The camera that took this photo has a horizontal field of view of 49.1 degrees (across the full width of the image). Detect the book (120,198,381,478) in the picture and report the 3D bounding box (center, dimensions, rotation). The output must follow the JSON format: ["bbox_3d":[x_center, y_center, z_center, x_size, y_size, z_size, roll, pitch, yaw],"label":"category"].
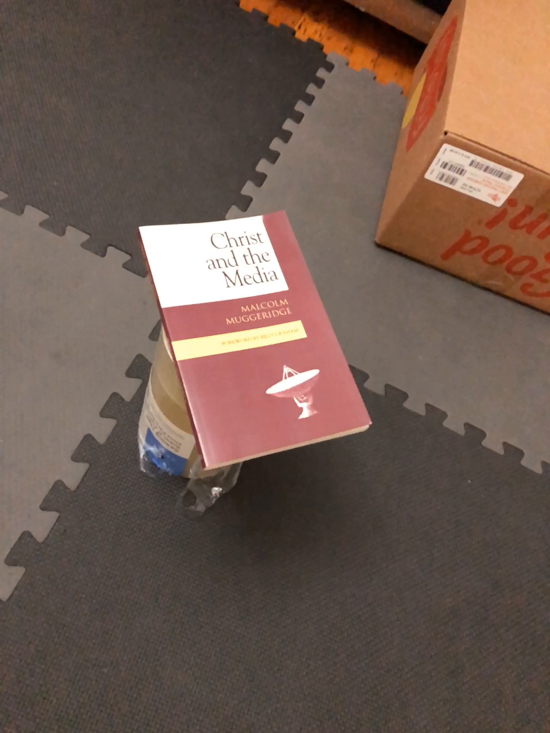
[{"bbox_3d":[-0.023,-0.035,0.453,0.140,0.020,0.210,-10,66,-22],"label":"book"}]
